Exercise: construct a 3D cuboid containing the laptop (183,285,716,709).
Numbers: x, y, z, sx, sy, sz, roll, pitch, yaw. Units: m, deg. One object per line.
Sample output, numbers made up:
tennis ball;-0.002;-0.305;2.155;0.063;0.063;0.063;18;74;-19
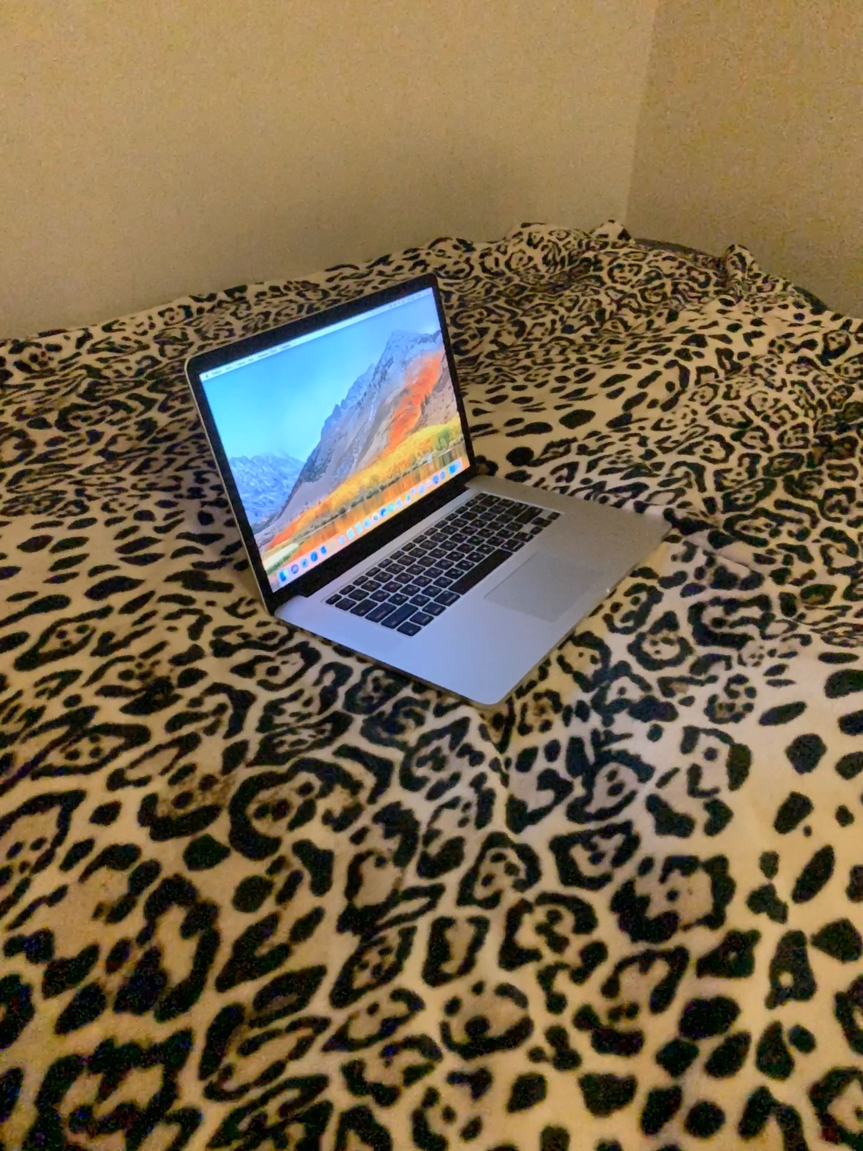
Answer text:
laptop;0.027;-0.104;0.809;0.299;0.222;0.350;20;38;30
